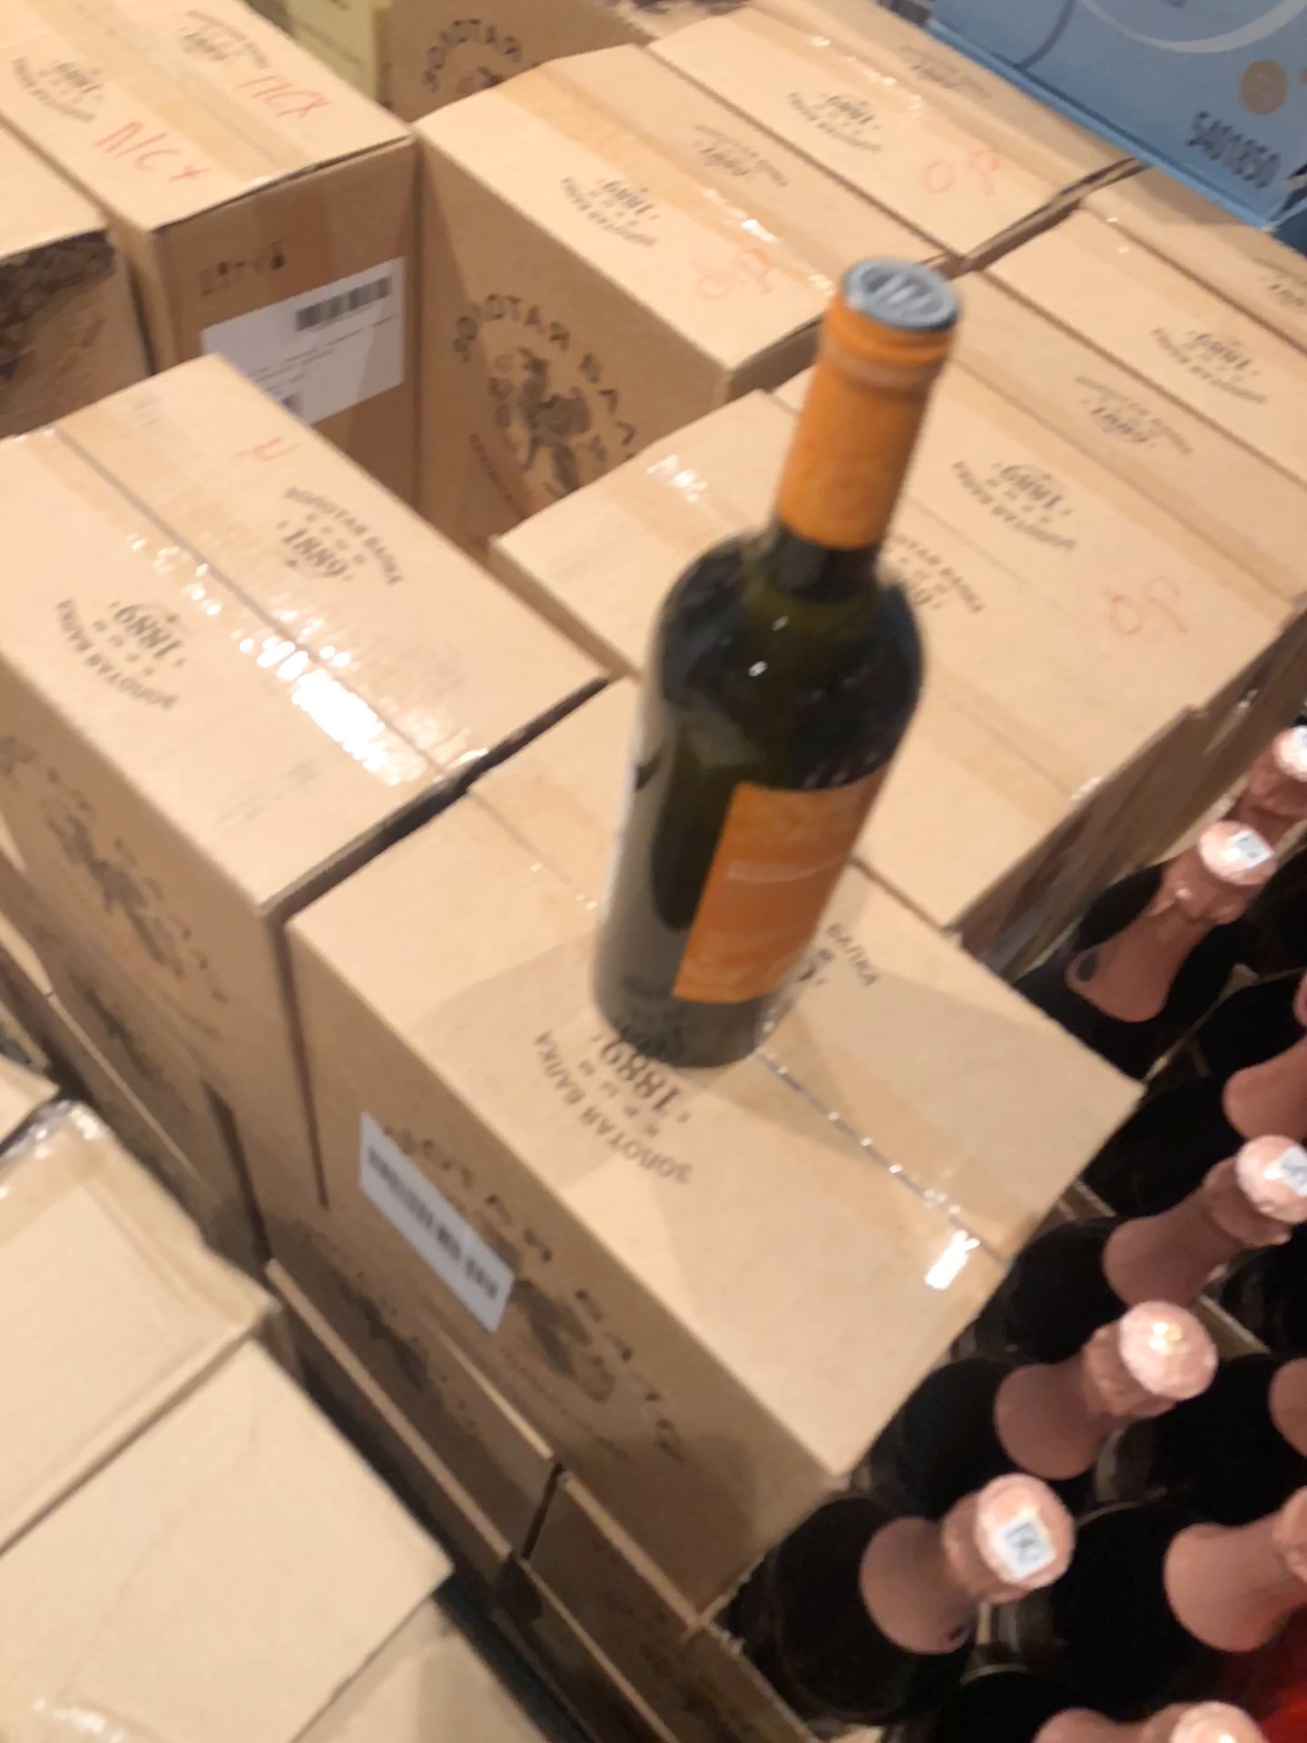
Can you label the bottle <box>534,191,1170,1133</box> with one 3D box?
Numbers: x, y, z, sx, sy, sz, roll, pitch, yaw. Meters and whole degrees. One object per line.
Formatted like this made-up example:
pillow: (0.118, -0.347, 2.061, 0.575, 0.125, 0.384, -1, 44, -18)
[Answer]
bottle: (0.034, -0.036, 0.423, 0.090, 0.278, 0.090, 4, 56, -6)
